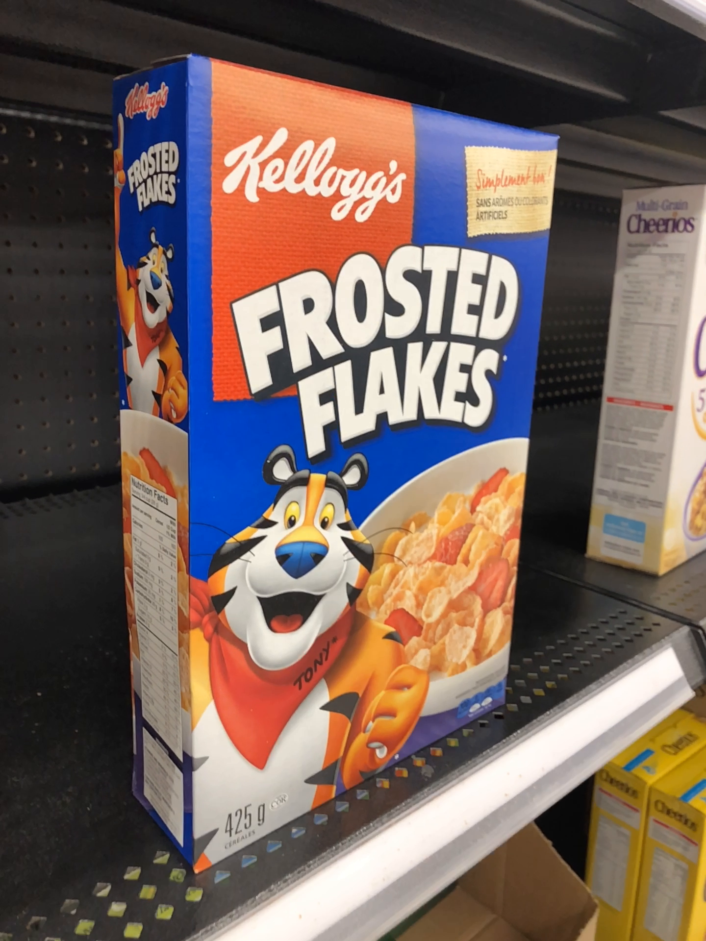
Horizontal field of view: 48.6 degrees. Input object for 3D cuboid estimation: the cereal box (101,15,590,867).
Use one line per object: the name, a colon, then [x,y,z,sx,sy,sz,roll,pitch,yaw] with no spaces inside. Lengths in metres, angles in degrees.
cereal box: [0.007,-0.013,0.350,0.210,0.289,0.060,-11,19,-41]
